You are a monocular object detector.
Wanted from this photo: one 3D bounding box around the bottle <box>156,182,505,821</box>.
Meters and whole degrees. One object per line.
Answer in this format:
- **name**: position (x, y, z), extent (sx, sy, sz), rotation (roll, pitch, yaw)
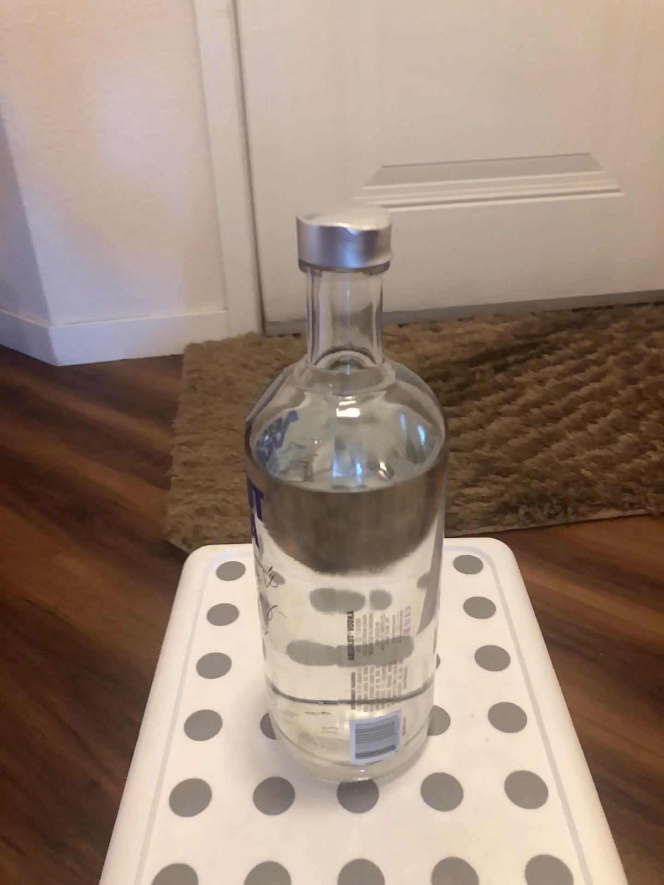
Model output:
- **bottle**: position (0.009, 0.032, 0.333), extent (0.100, 0.269, 0.090), rotation (10, 32, 21)
